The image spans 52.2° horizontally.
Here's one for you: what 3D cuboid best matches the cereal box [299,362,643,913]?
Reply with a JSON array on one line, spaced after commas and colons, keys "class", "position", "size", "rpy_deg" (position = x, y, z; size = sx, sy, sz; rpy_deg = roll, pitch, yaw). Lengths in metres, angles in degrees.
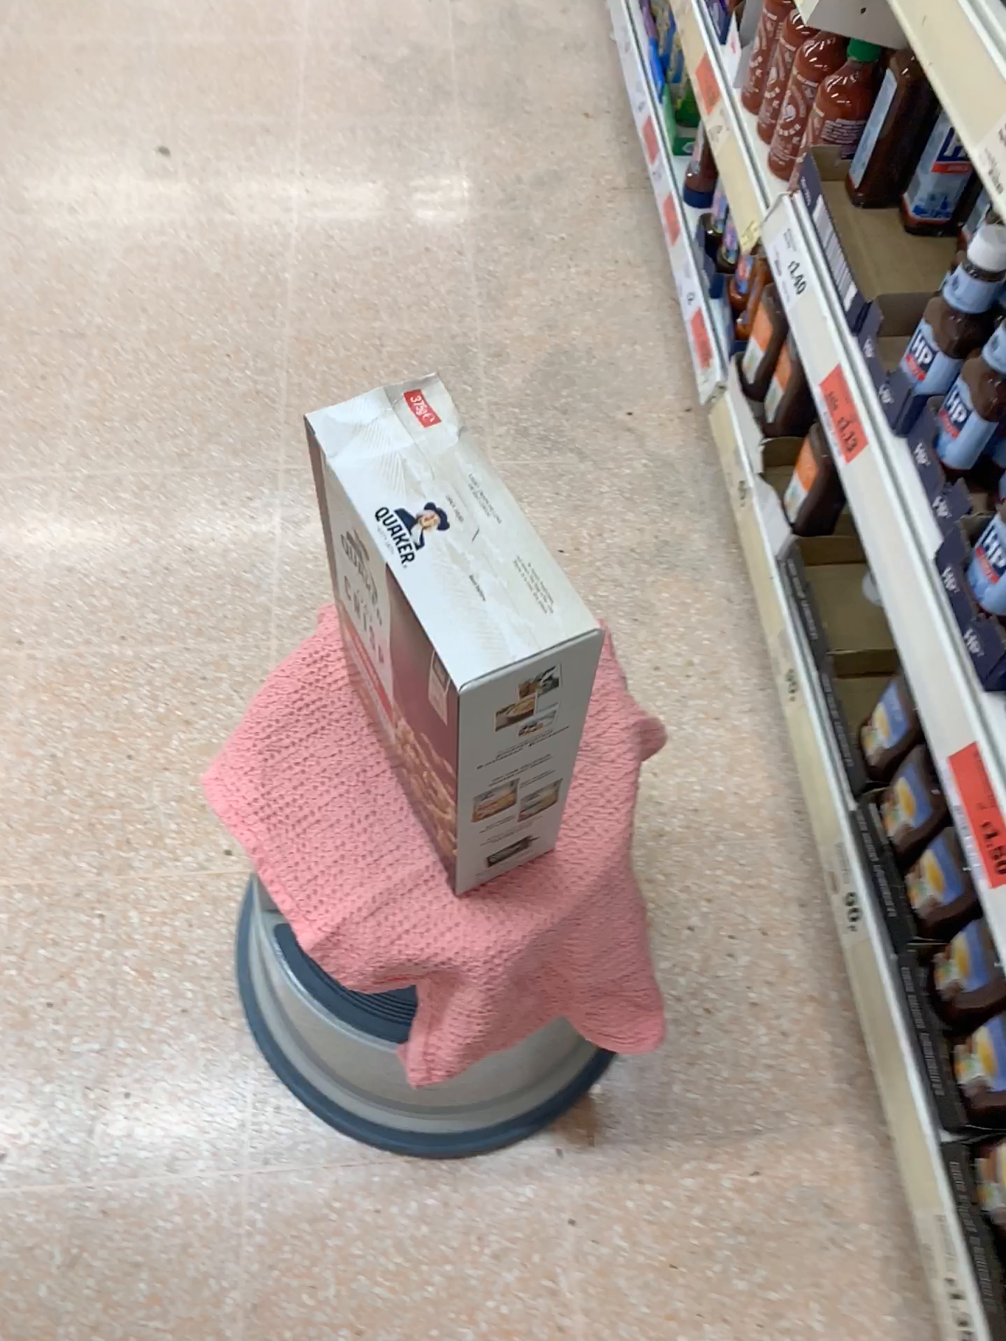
[{"class": "cereal box", "position": [-0.023, -0.004, 0.603], "size": [0.090, 0.268, 0.191], "rpy_deg": [-23, 61, -14]}]
